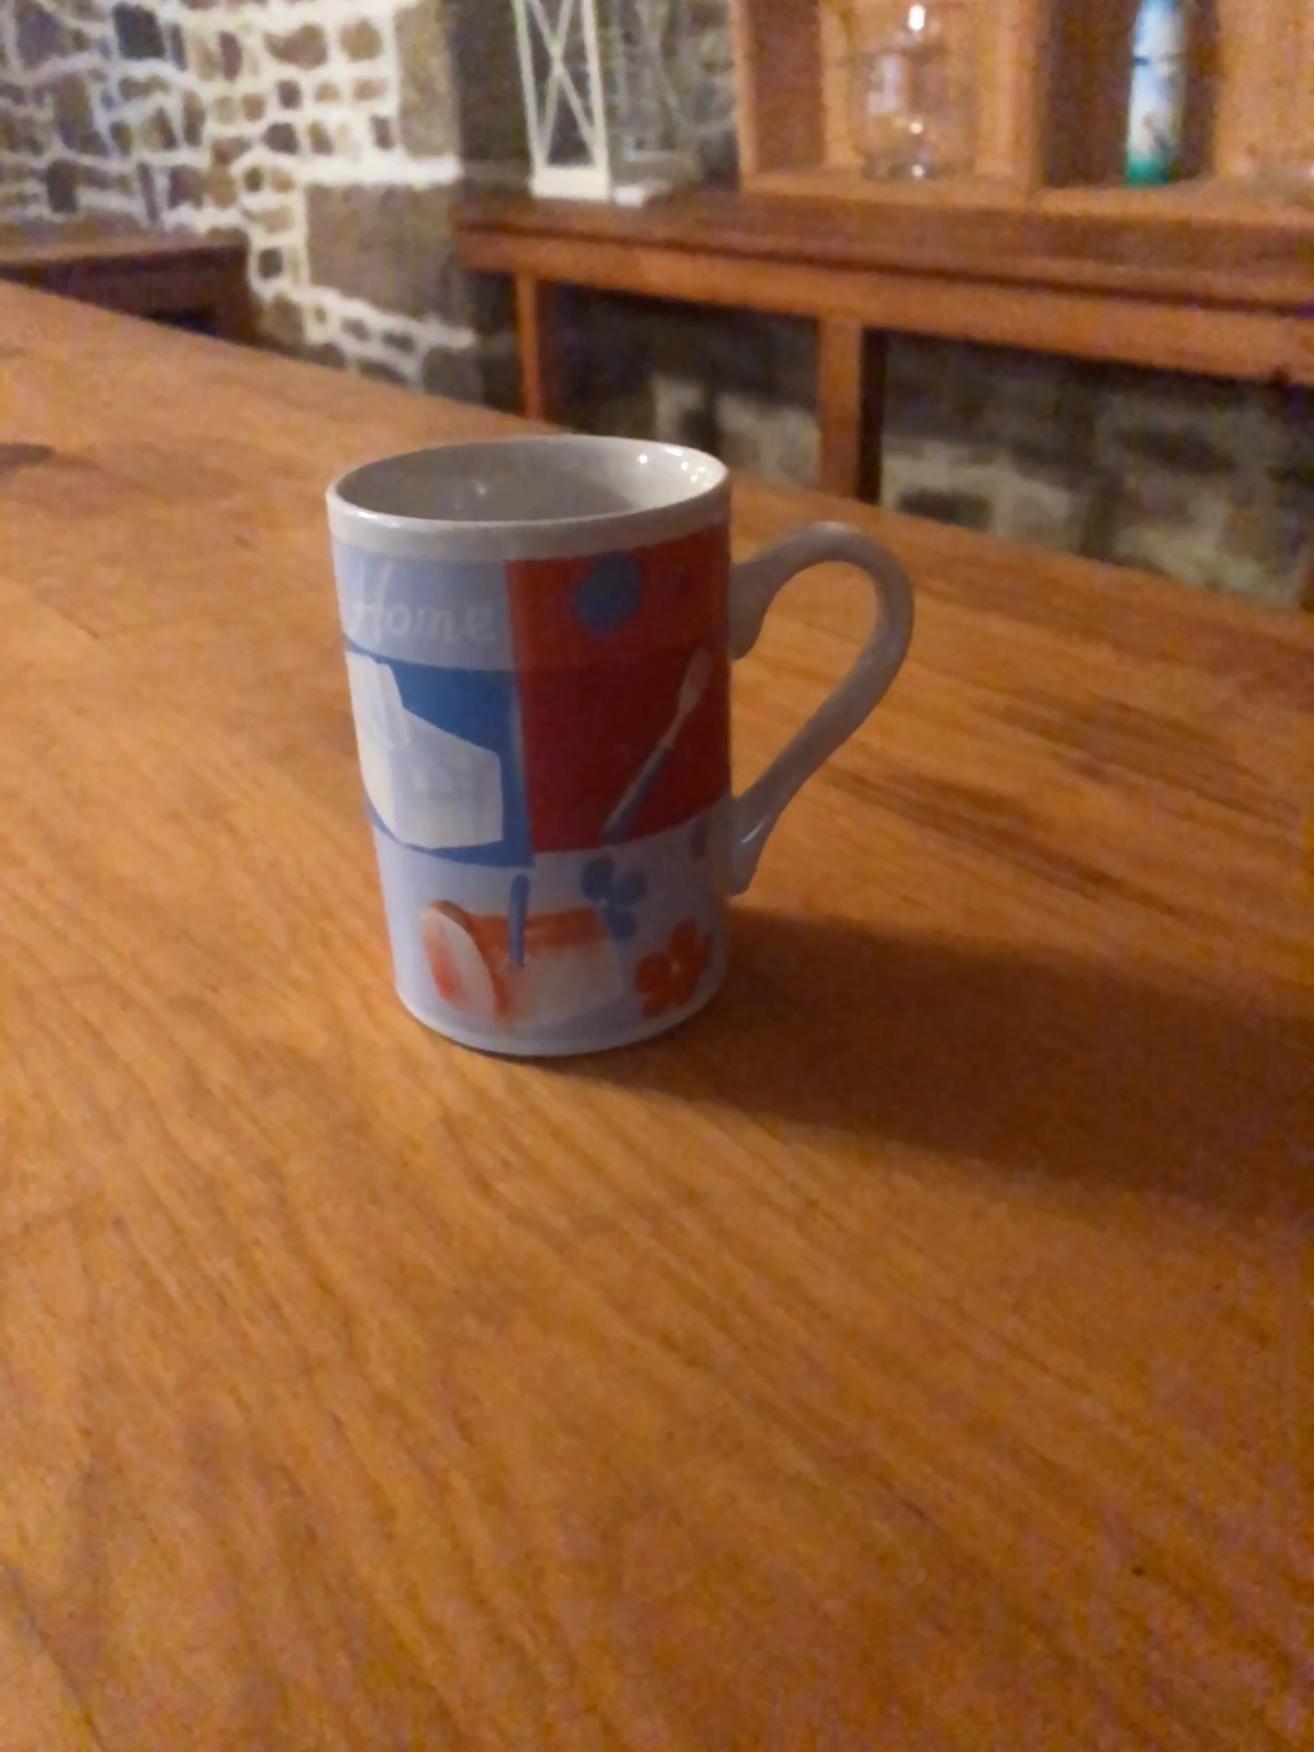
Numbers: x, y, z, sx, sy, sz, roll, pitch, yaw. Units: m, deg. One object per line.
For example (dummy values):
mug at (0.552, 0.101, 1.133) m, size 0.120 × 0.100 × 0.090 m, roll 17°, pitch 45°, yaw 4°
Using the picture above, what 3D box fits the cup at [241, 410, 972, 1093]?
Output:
cup at (-0.010, -0.028, 0.280) m, size 0.112 × 0.099 × 0.080 m, roll -5°, pitch 28°, yaw -6°
